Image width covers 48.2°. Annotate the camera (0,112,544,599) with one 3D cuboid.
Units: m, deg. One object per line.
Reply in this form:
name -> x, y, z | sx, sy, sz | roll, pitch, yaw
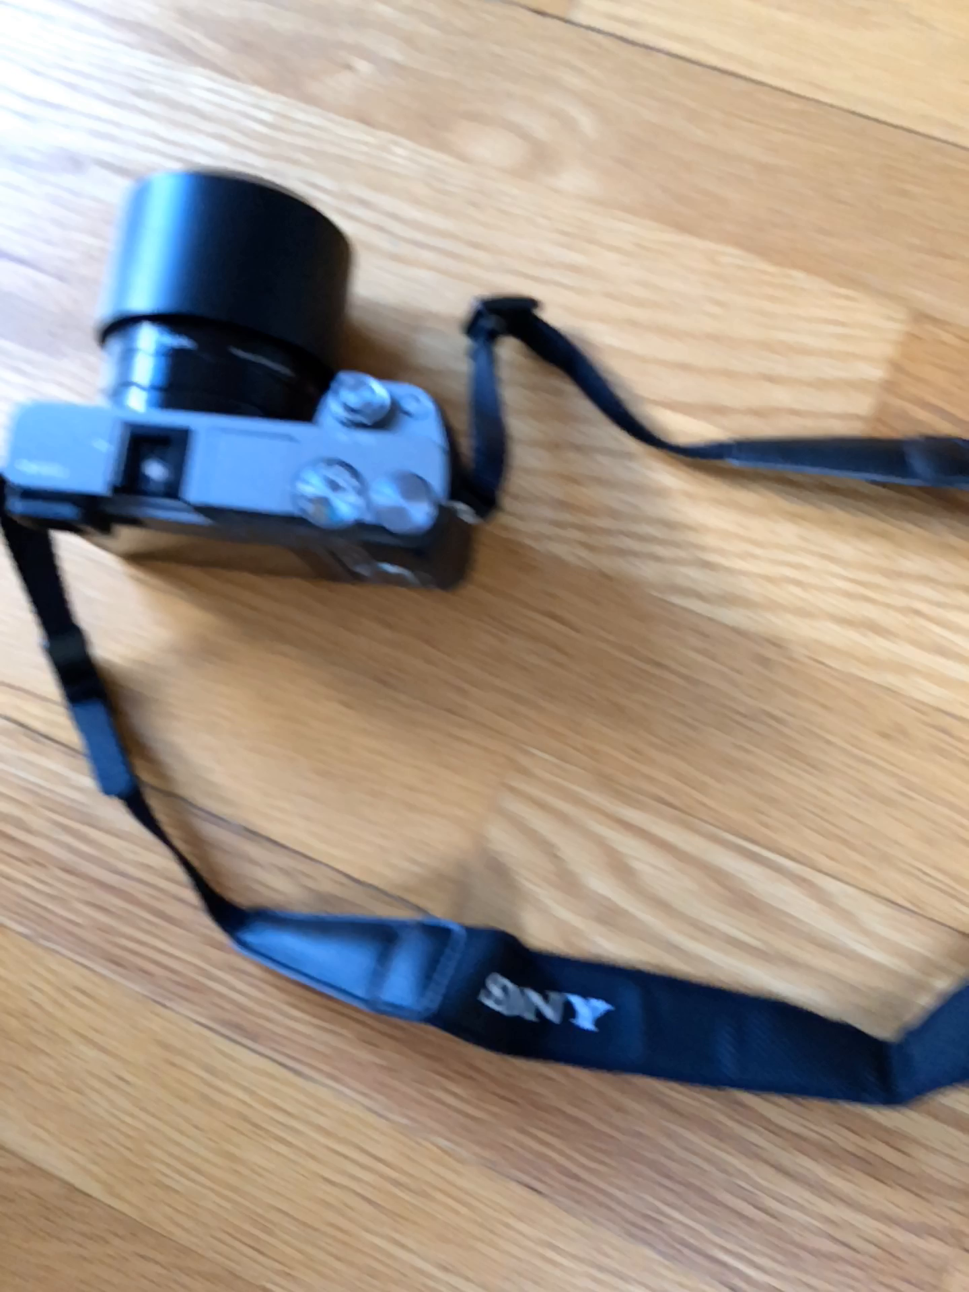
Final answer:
camera -> -0.057, -0.080, 0.317 | 0.136, 0.079, 0.106 | 6, 82, 6
